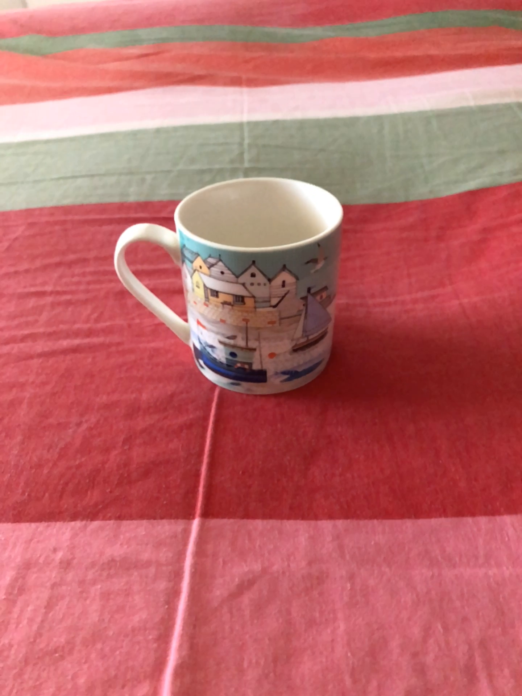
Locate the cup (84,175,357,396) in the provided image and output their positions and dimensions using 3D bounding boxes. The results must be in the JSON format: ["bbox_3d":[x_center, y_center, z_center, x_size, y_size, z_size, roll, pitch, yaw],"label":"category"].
[{"bbox_3d":[-0.015,-0.036,0.316,0.120,0.080,0.094,0,38,4],"label":"cup"}]
